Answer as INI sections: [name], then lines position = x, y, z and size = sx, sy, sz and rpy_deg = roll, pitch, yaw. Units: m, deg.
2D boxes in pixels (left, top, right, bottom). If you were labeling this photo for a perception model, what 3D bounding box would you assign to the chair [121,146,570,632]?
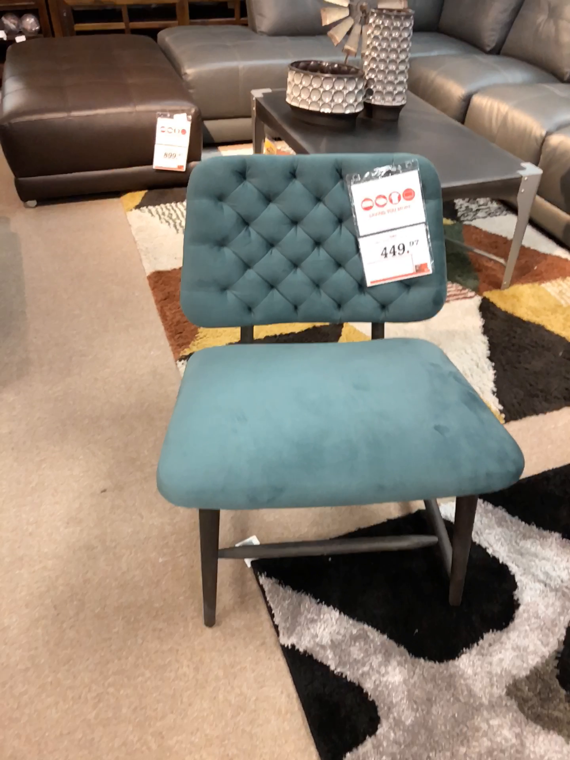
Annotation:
[chair]
position = 0.074, 0.024, 1.226
size = 0.639, 0.765, 0.534
rpy_deg = -1, 40, -6
